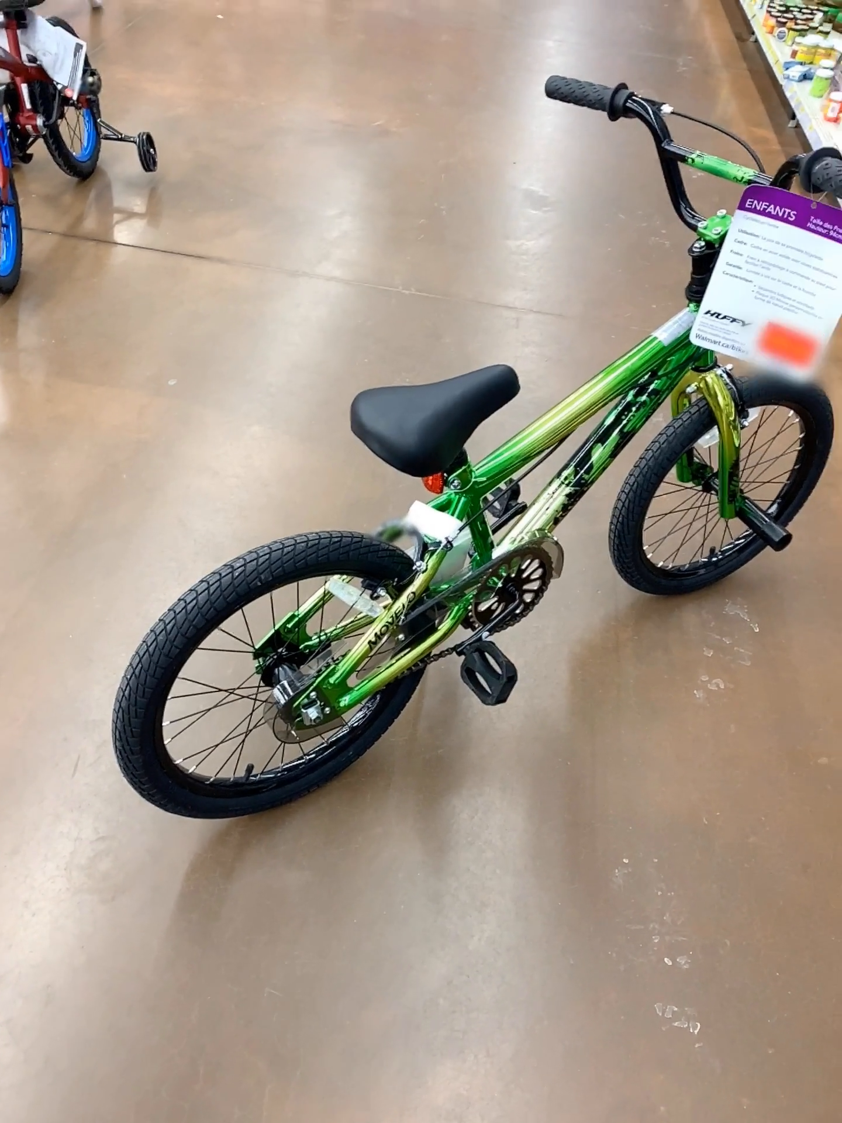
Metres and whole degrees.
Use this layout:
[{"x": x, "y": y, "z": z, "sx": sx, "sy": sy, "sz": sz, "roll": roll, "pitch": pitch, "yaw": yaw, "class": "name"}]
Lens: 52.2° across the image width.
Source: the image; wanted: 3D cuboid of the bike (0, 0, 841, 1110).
[{"x": 0.313, "y": -0.128, "z": 1.183, "sx": 1.408, "sy": 1.034, "sz": 0.719, "roll": -24, "pitch": 51, "yaw": -20, "class": "bike"}]
